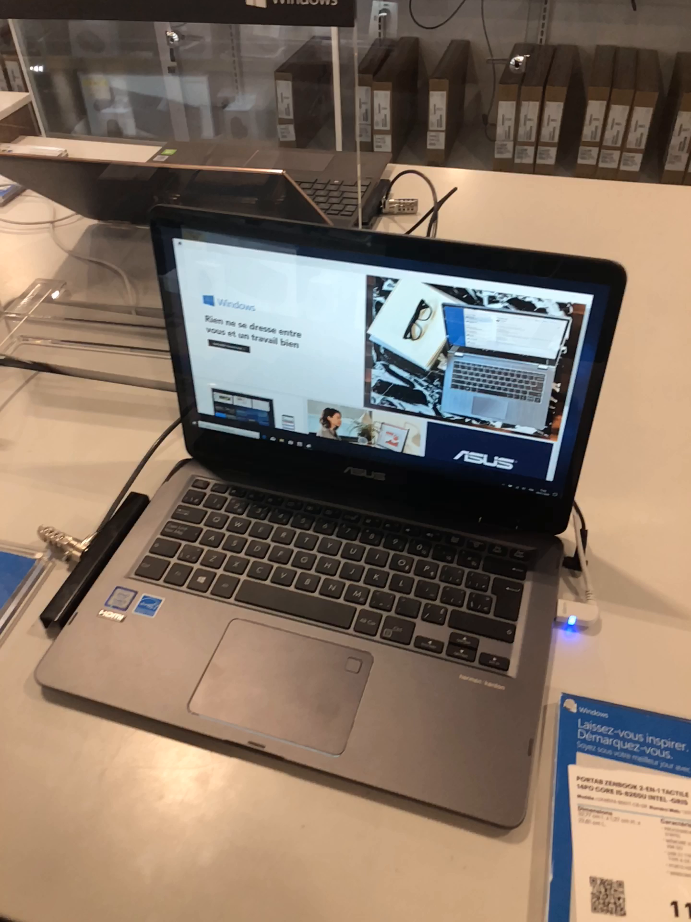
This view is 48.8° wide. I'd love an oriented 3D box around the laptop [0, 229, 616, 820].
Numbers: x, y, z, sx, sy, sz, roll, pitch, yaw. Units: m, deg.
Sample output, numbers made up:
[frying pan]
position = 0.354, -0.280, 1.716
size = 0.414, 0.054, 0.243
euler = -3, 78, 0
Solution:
[laptop]
position = -0.022, 0.019, 0.461
size = 0.302, 0.217, 0.225
euler = 11, 43, 15
